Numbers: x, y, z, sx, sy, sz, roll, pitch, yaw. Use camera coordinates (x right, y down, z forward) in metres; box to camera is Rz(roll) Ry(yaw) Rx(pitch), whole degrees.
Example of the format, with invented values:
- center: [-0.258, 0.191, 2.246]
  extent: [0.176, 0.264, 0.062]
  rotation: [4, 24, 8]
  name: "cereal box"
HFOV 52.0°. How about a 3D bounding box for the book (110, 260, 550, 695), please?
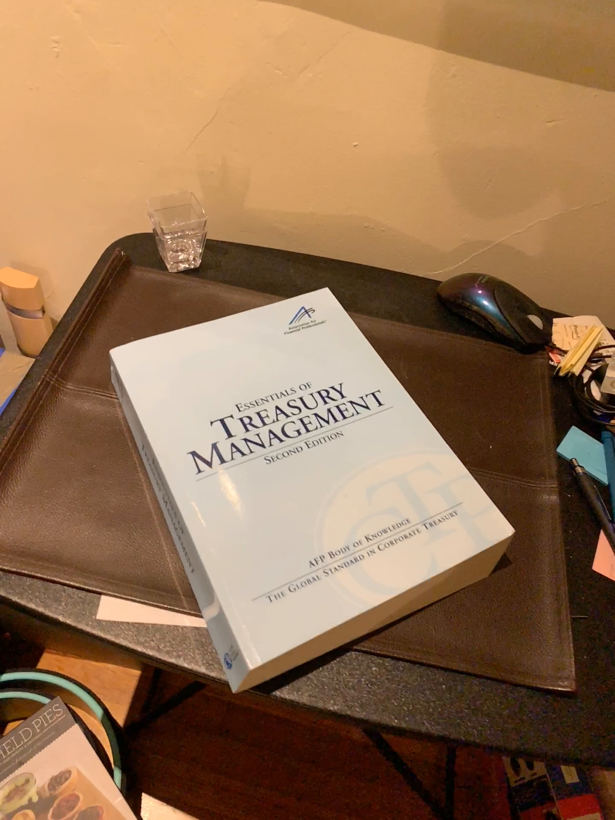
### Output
- center: [0.000, 0.022, 0.499]
  extent: [0.220, 0.060, 0.301]
  rotation: [-18, 57, -20]
  name: "book"
